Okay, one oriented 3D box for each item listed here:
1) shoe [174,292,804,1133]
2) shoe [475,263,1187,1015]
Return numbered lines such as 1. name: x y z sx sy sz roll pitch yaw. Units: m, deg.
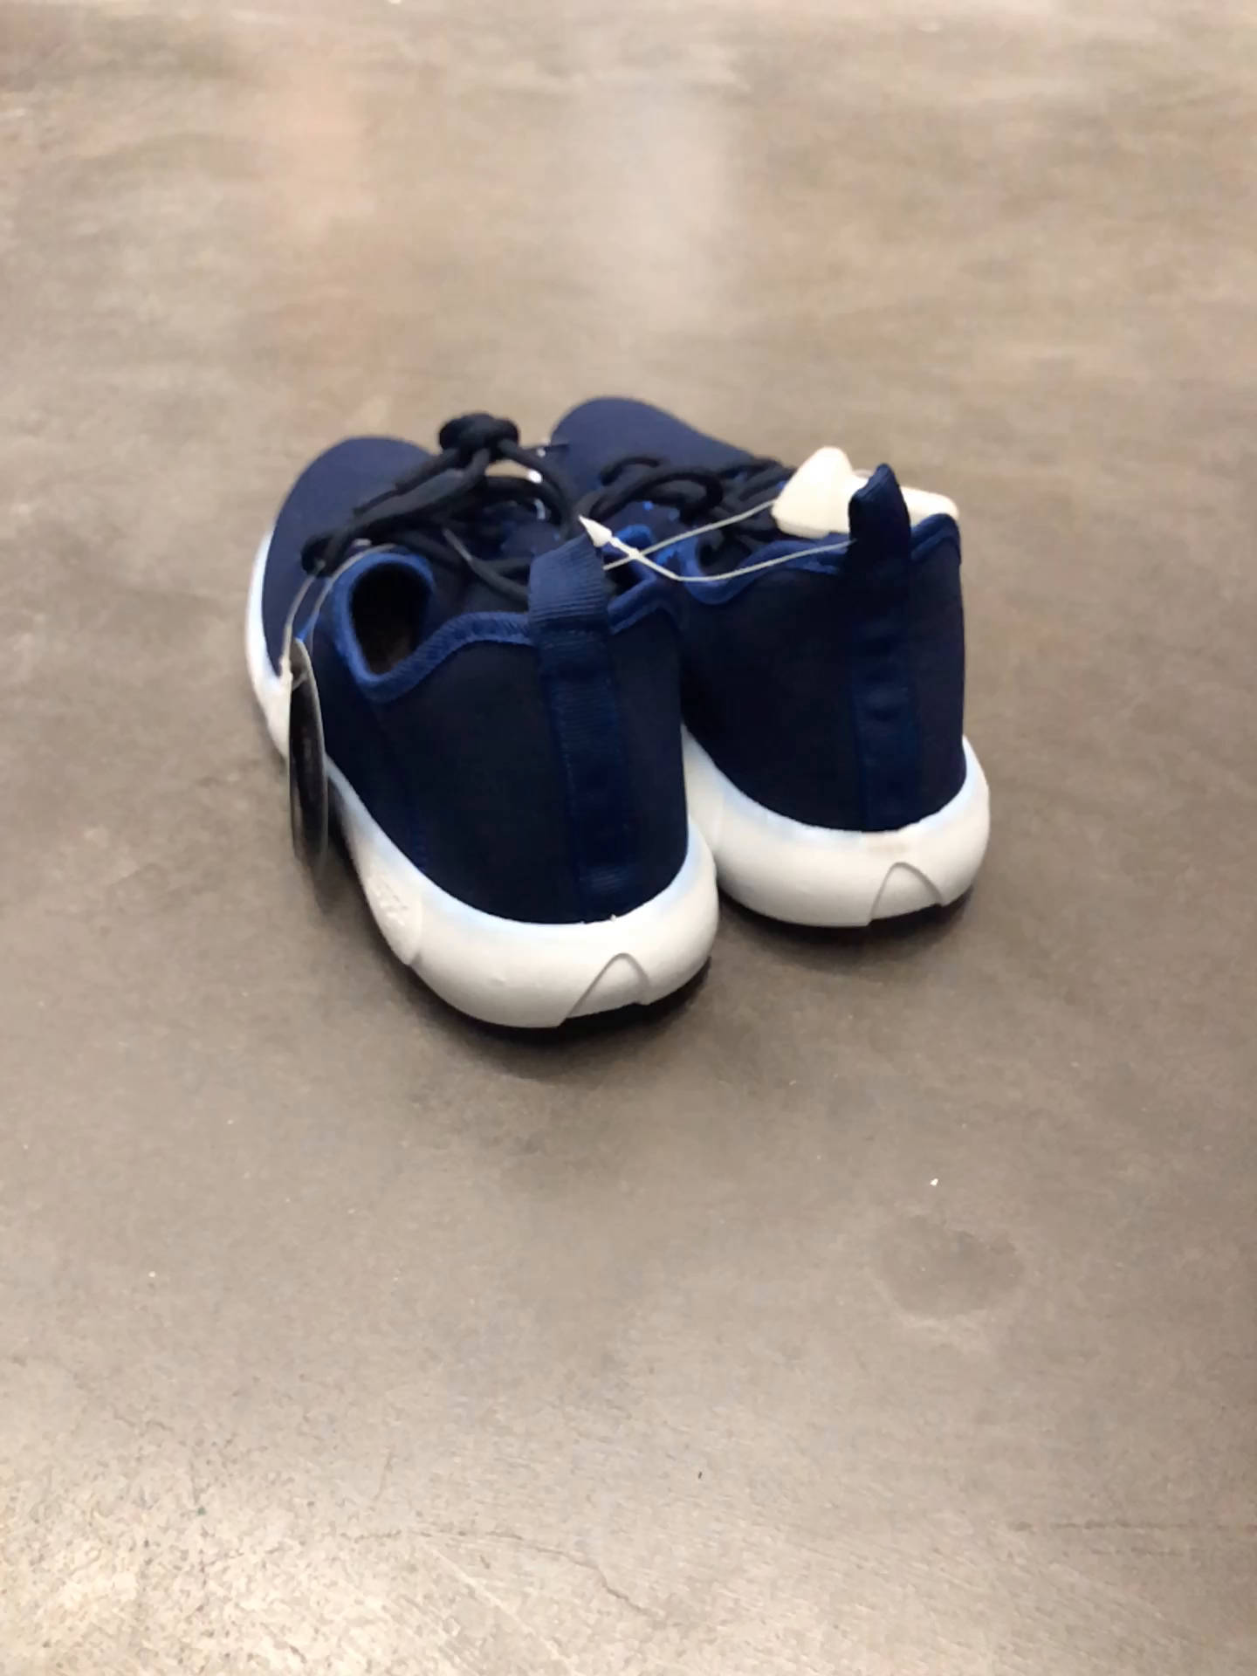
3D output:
1. shoe: -0.052 -0.054 0.371 0.090 0.089 0.241 -12 42 -17
2. shoe: 0.034 -0.076 0.401 0.090 0.089 0.241 -12 42 -17
